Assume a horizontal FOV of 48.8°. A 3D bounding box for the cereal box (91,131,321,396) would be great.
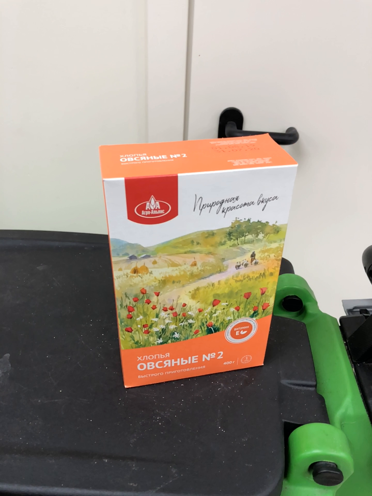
[{"bbox_3d":[0.009,0.018,0.343,0.150,0.209,0.060,-6,33,-12],"label":"cereal box"}]
